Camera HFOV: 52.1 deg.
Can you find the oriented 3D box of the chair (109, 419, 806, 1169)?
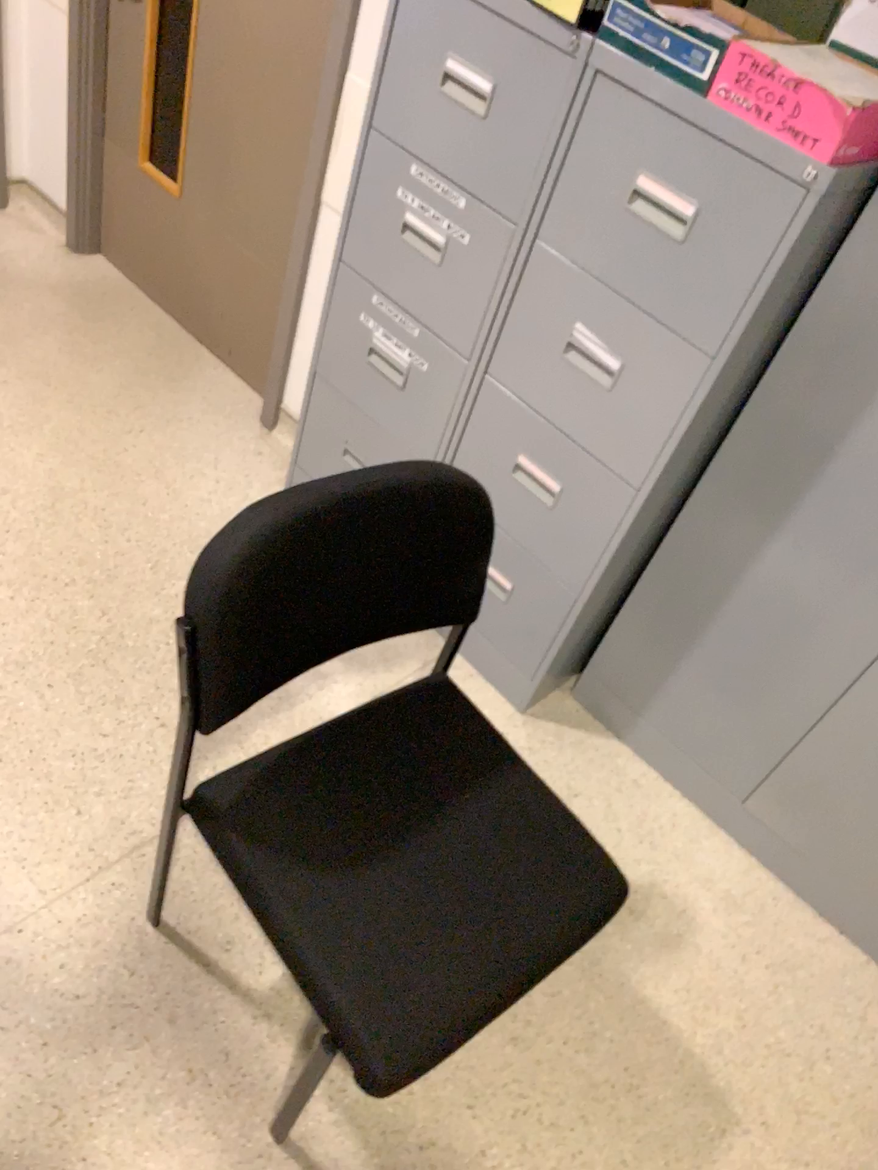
[{"bbox_3d":[-0.054,0.322,1.387,0.633,0.852,0.593,-22,57,-38],"label":"chair"}]
